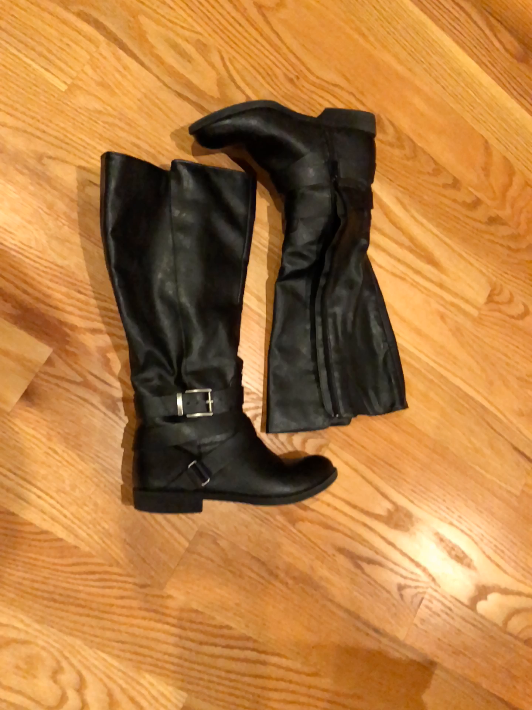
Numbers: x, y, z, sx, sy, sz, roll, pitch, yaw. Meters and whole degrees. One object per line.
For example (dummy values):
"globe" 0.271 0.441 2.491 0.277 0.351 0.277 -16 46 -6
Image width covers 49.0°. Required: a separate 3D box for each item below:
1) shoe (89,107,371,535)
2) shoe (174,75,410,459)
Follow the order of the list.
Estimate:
"shoe" -0.039 -0.031 0.646 0.291 0.104 0.403 1 87 -20
"shoe" 0.032 -0.086 0.675 0.251 0.094 0.393 2 86 -19
